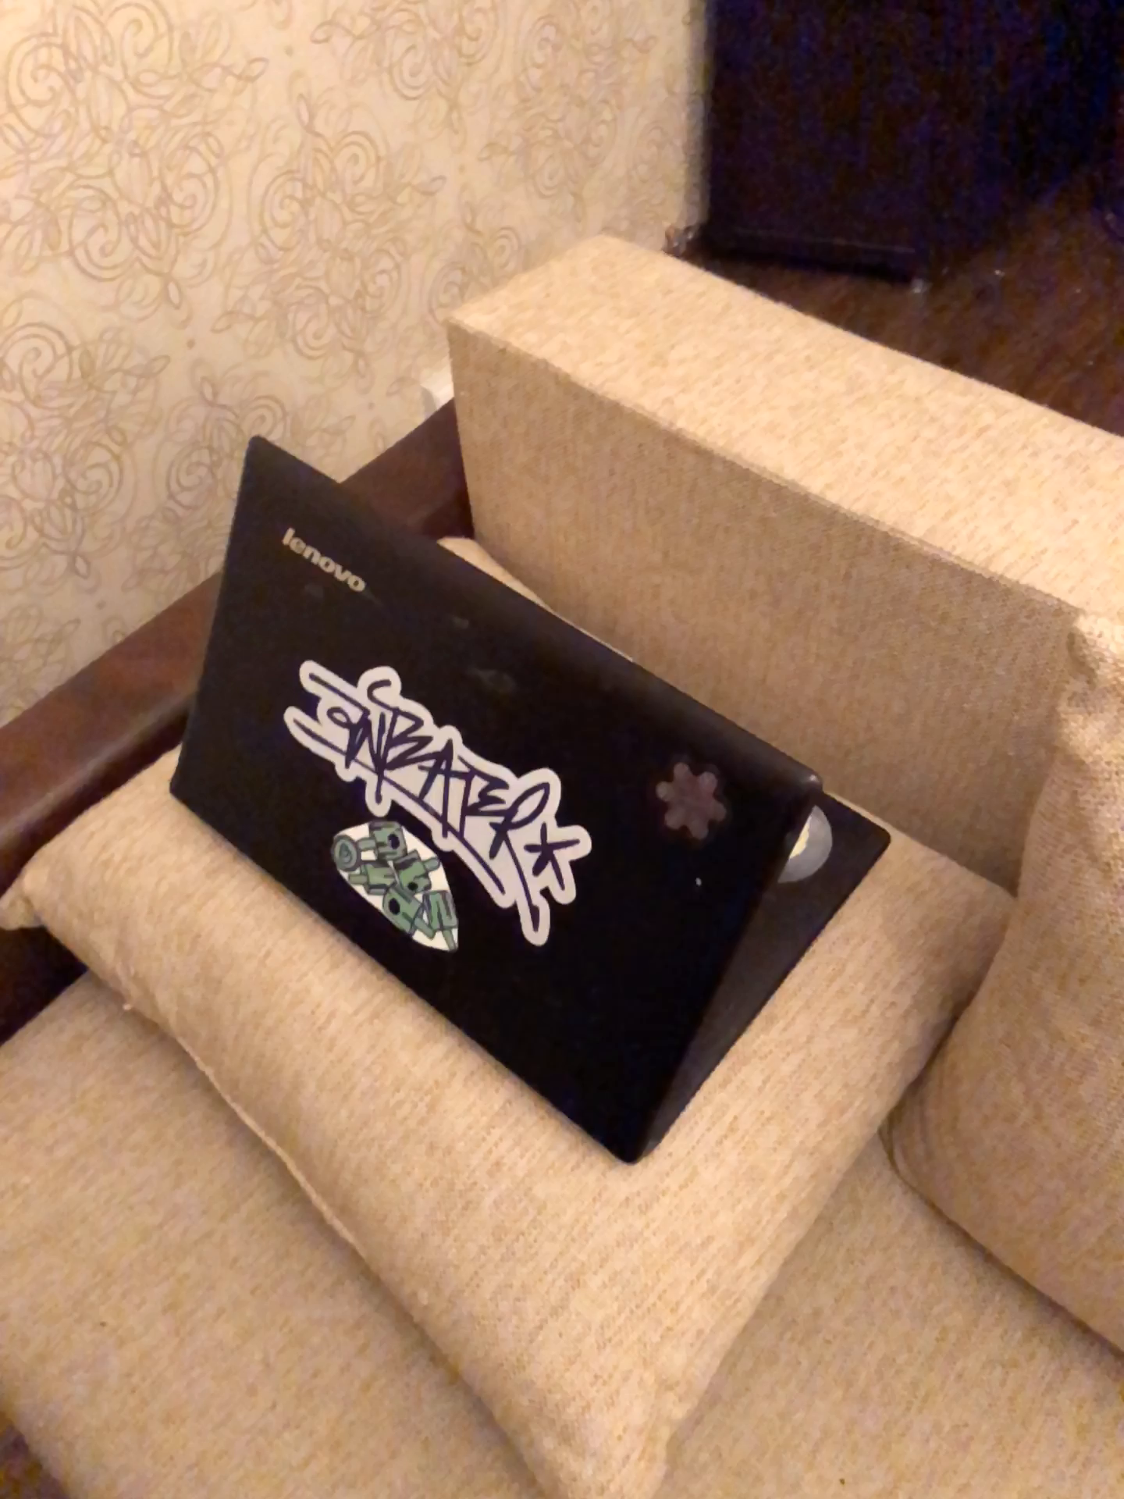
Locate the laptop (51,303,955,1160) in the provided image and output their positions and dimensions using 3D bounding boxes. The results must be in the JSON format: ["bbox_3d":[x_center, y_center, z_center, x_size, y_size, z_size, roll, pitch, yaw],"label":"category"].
[{"bbox_3d":[-0.036,-0.027,0.753,0.413,0.223,0.268,33,63,24],"label":"laptop"}]
